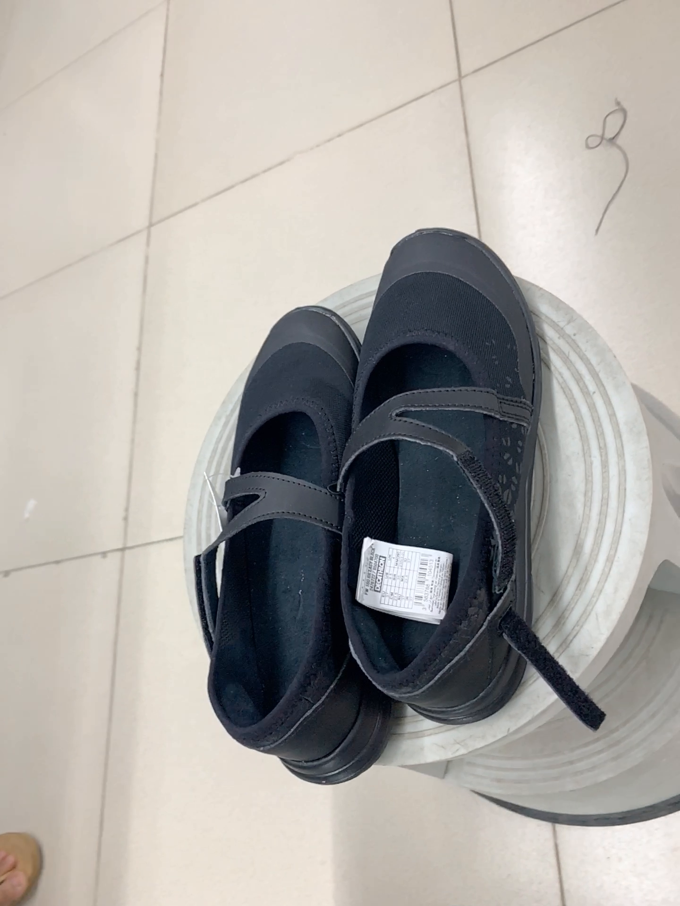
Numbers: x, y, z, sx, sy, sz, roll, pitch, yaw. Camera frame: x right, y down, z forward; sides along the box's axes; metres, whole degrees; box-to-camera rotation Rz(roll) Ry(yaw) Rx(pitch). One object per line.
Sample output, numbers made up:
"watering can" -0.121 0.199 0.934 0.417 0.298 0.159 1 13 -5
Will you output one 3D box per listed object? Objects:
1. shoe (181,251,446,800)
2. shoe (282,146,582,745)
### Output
"shoe" -0.016 0.036 0.360 0.090 0.080 0.250 -15 65 27
"shoe" 0.044 -0.002 0.331 0.100 0.080 0.250 -9 68 29
